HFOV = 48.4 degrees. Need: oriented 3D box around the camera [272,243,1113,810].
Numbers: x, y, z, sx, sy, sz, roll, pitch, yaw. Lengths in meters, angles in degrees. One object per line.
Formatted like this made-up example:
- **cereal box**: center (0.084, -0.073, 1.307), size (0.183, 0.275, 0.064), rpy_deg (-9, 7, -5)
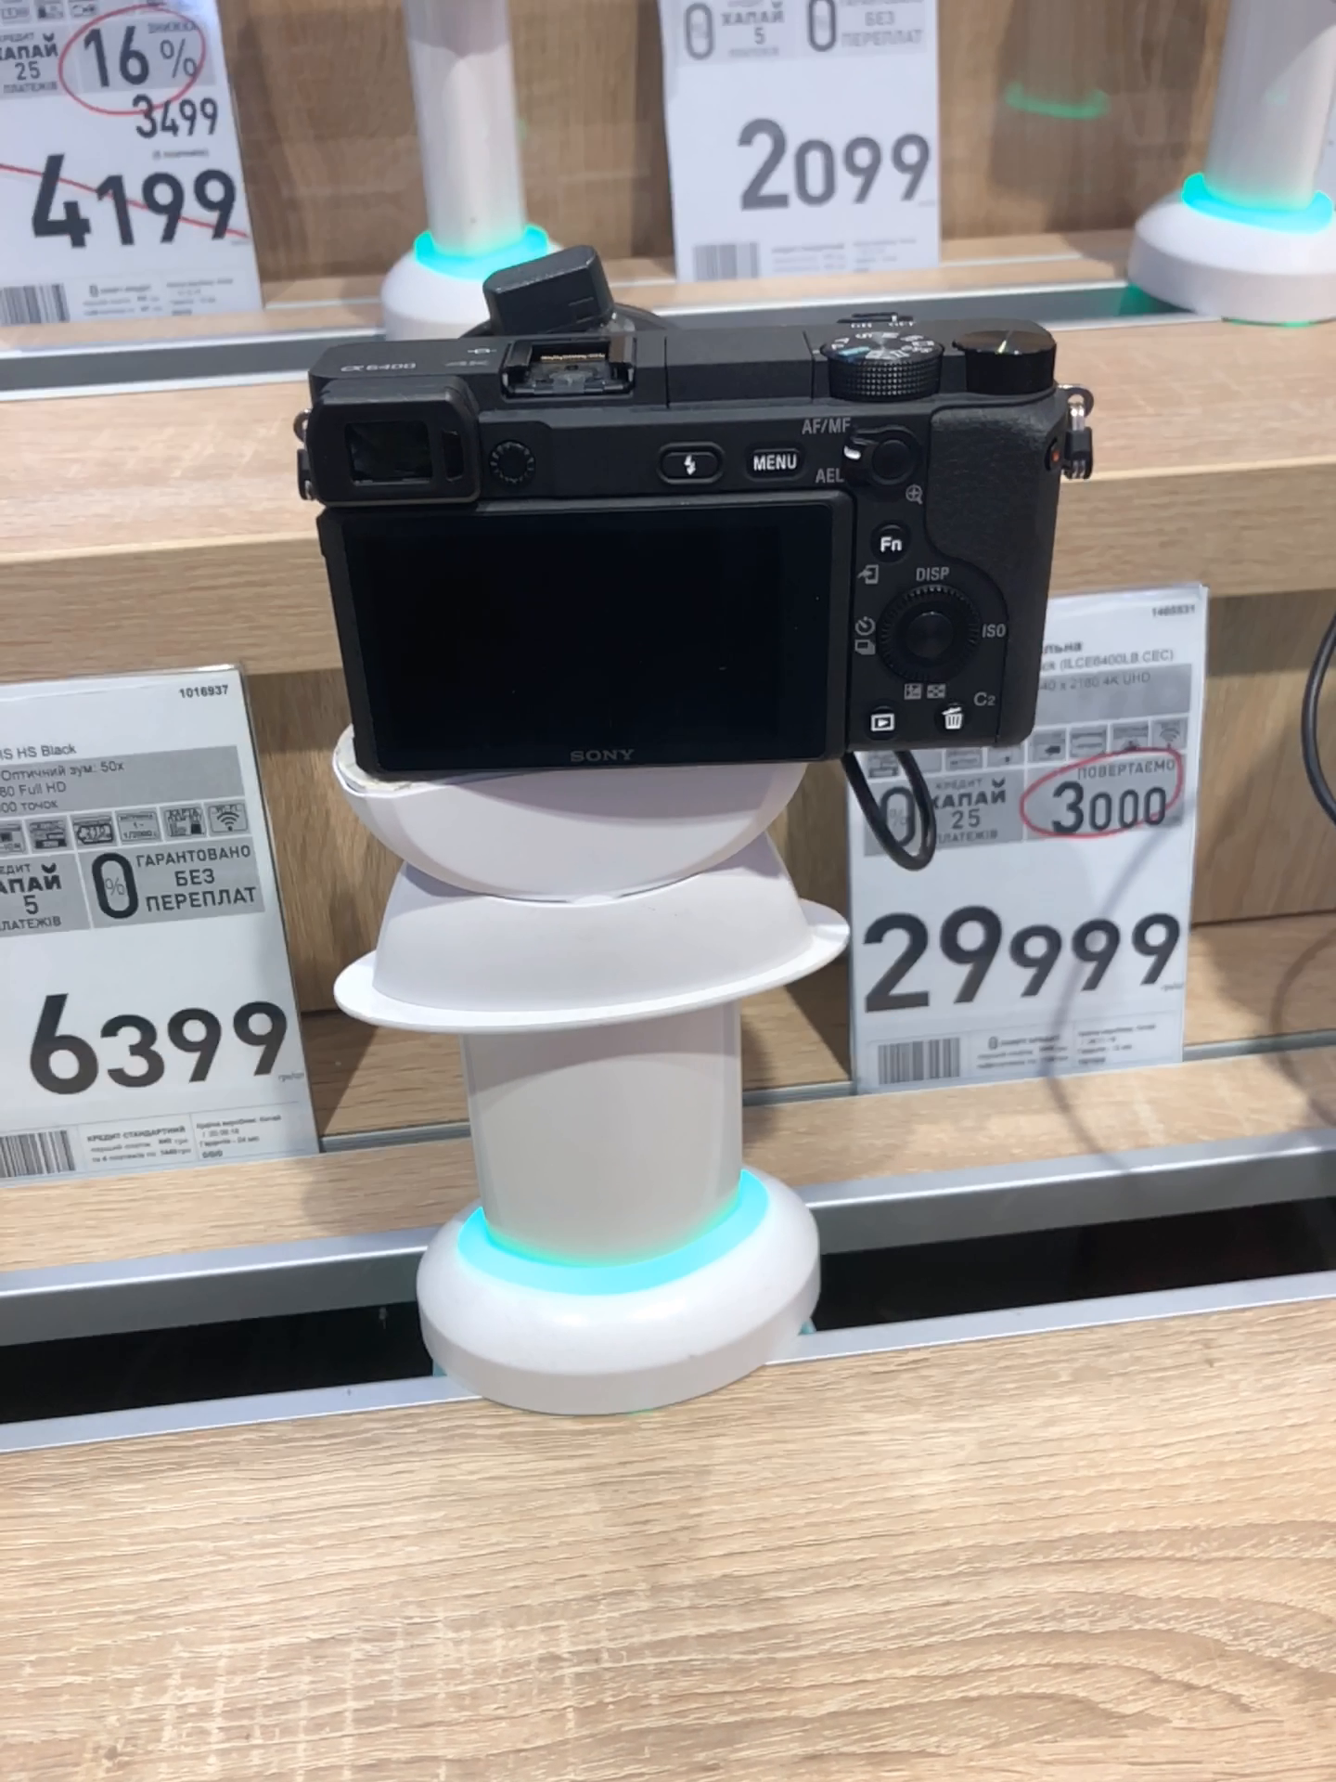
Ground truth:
- **camera**: center (0.004, -0.072, 0.275), size (0.122, 0.069, 0.098), rpy_deg (-2, 33, 0)
